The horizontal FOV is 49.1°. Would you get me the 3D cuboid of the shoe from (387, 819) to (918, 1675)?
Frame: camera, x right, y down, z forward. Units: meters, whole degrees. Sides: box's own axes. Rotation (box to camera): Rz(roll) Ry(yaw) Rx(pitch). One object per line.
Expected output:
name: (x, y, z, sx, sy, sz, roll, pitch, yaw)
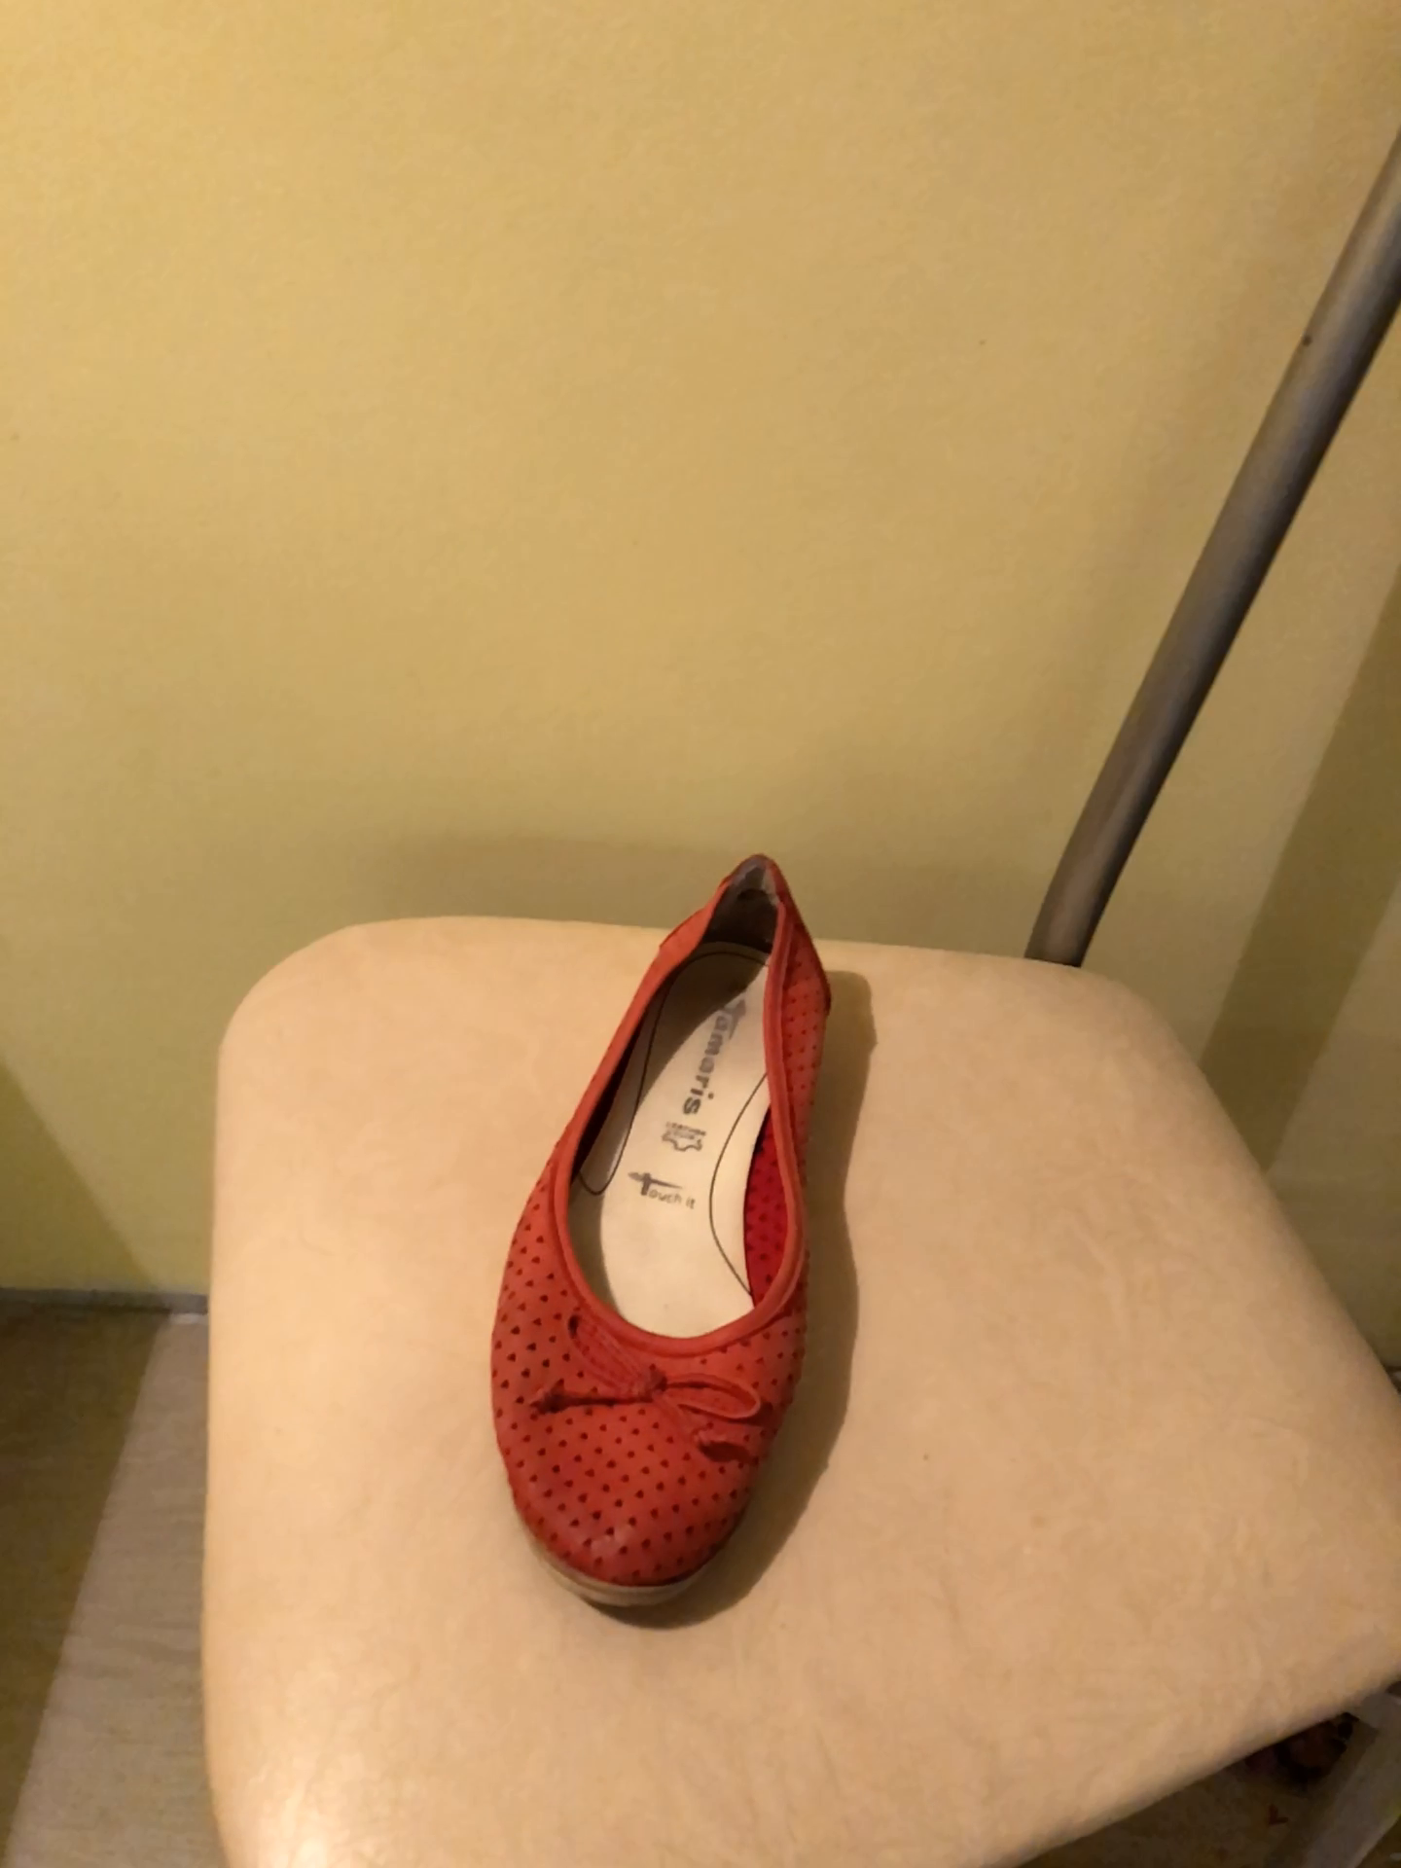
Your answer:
shoe: (-0.003, 0.079, 0.485, 0.100, 0.080, 0.252, 13, 42, 6)
